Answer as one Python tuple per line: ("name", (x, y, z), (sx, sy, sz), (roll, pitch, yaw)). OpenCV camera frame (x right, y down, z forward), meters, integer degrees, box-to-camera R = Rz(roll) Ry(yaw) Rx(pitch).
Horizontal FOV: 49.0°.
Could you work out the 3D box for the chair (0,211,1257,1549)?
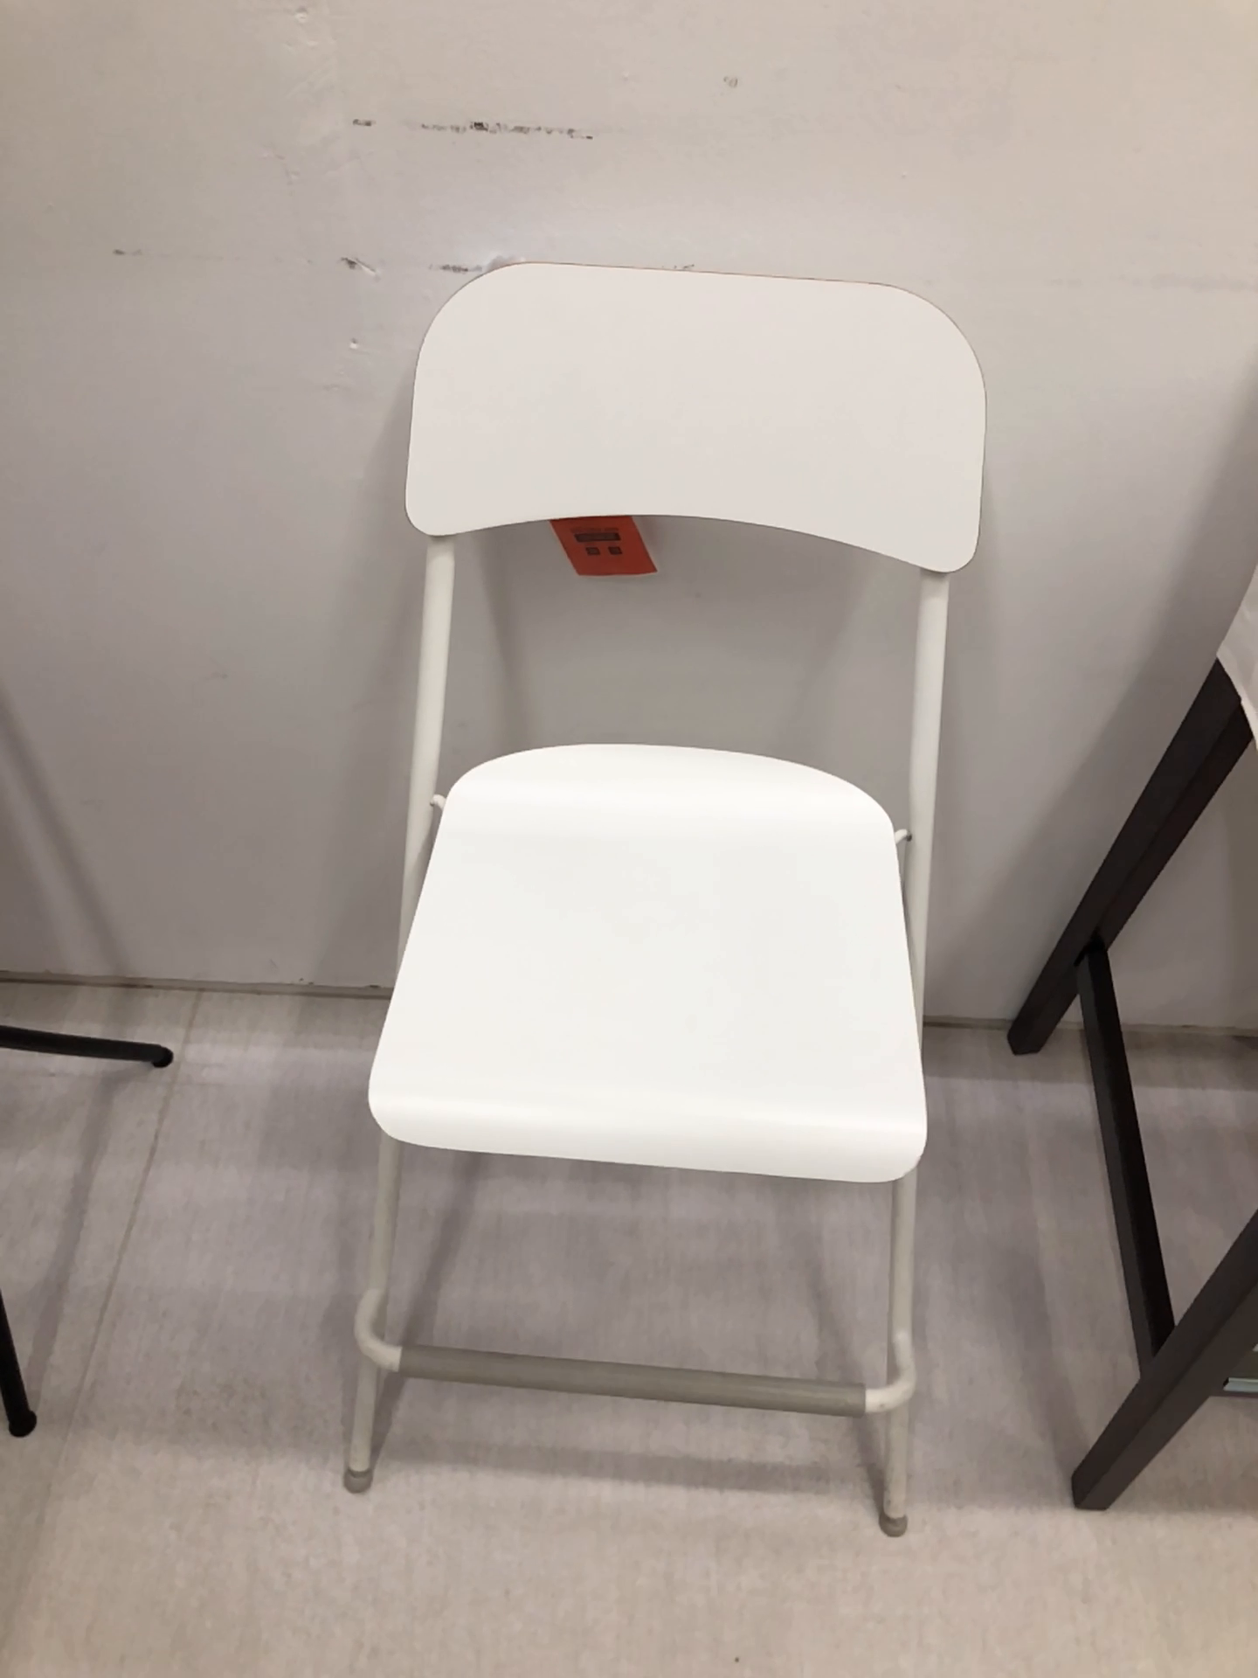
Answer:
("chair", (0.029, 0.111, 1.001), (0.530, 0.895, 0.483), (3, 48, 1))
